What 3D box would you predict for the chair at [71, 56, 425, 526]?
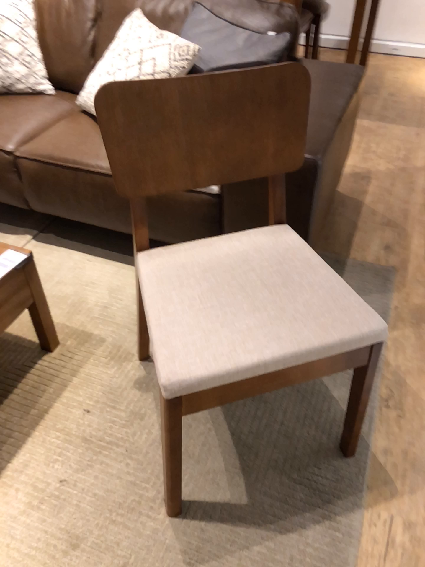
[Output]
[{"bbox_3d":[0.052,0.020,1.033,0.511,0.794,0.534,-12,42,-14],"label":"chair"}]
